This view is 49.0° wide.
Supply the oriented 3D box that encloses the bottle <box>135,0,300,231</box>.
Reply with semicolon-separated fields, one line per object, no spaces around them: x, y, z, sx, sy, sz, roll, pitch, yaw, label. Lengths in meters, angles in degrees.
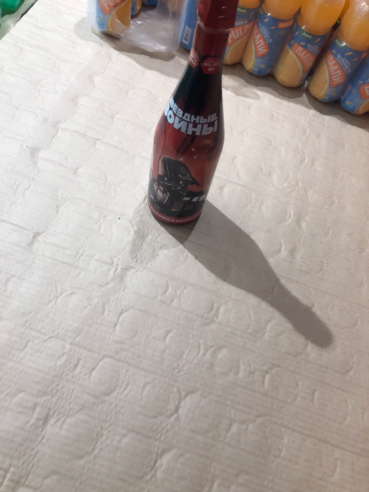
0.013;-0.133;0.414;0.086;0.279;0.085;4;62;-8;bottle
